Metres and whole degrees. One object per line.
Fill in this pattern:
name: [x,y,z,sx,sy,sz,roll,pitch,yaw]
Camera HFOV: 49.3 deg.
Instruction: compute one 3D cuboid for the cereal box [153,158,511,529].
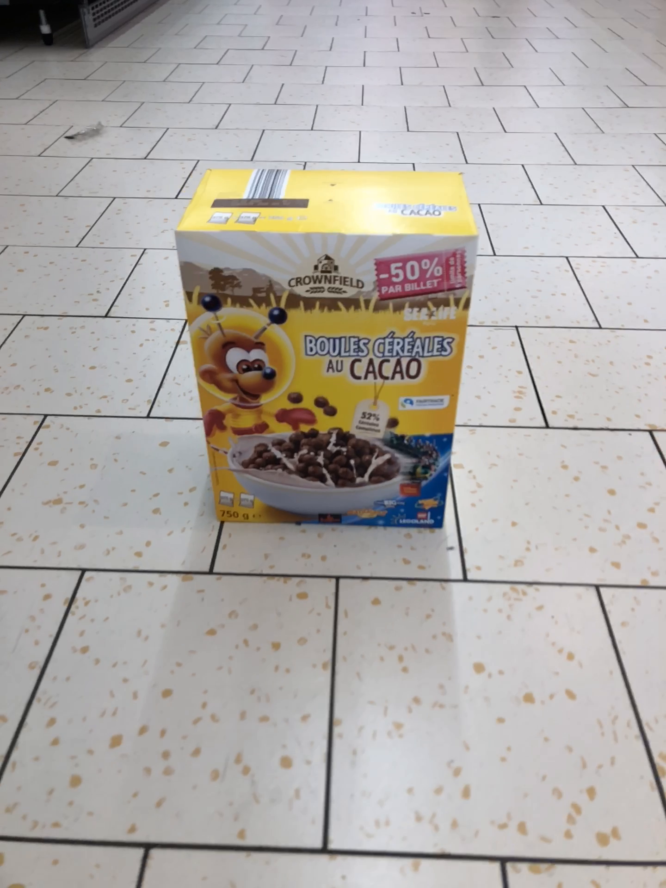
cereal box: [0.002,-0.072,0.550,0.210,0.239,0.131,2,38,2]
